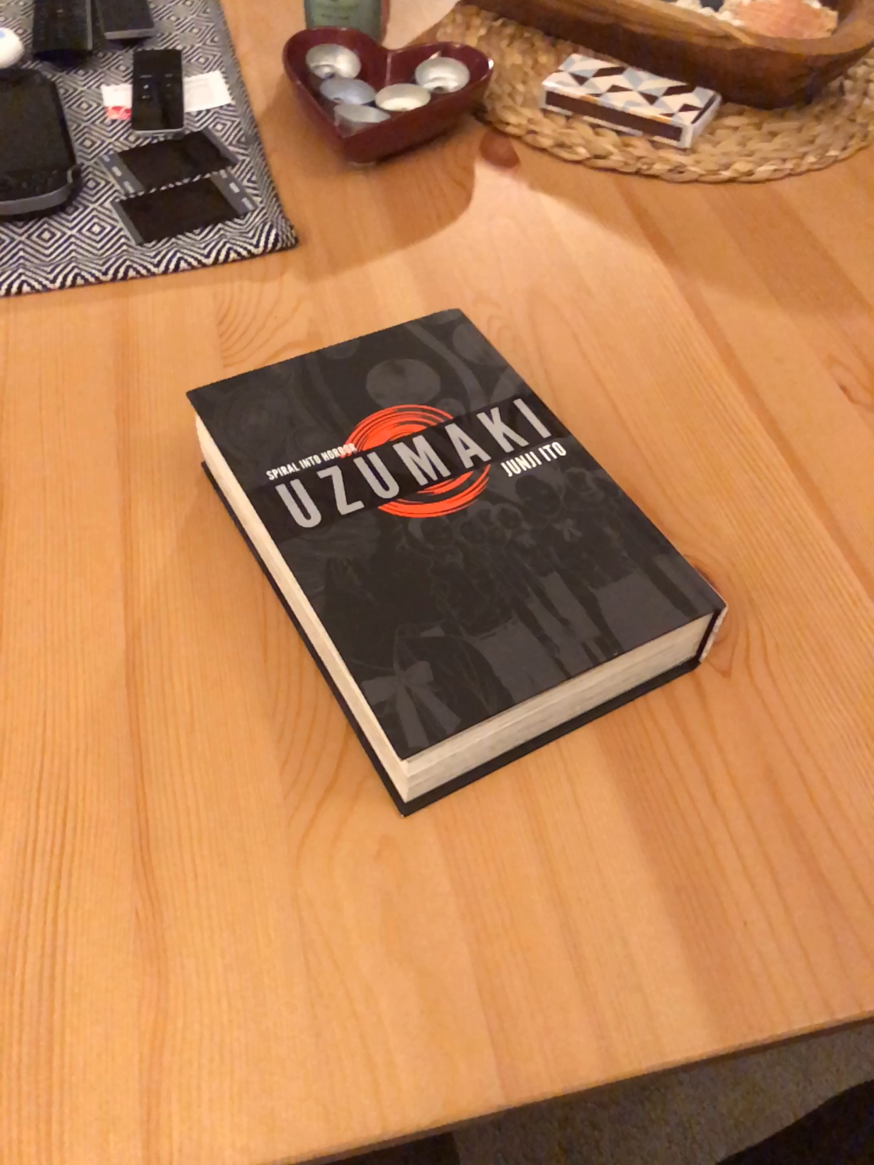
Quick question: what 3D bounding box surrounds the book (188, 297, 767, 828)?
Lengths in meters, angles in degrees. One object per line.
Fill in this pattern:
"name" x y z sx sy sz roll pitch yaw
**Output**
"book" 0.008 -0.025 0.415 0.157 0.048 0.204 -22 57 -19
